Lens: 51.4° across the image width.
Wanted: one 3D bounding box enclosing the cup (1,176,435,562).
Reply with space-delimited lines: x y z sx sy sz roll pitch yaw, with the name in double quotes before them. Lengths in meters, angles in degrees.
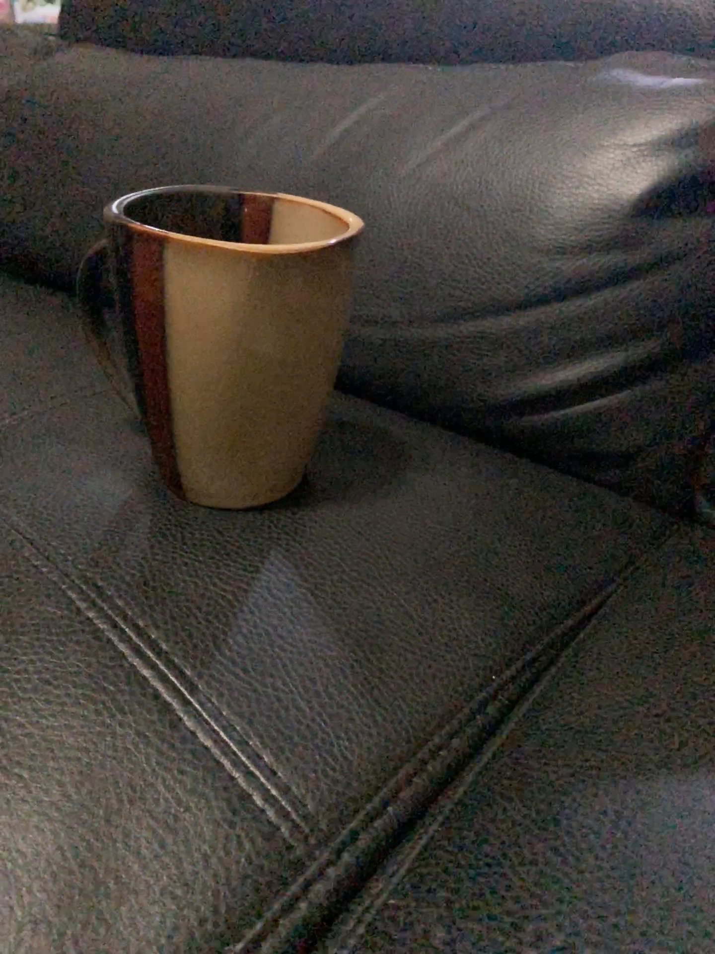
"cup" -0.055 -0.056 0.322 0.138 0.109 0.098 18 34 21
